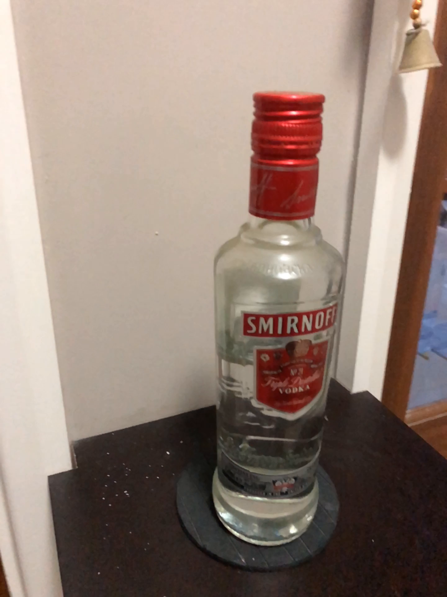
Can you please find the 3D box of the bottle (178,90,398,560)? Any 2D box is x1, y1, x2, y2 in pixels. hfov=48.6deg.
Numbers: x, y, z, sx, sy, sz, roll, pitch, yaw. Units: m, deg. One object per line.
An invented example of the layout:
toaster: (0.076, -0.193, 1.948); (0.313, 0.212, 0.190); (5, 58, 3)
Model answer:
bottle: (0.021, 0.014, 0.249); (0.070, 0.219, 0.070); (1, 22, 0)
